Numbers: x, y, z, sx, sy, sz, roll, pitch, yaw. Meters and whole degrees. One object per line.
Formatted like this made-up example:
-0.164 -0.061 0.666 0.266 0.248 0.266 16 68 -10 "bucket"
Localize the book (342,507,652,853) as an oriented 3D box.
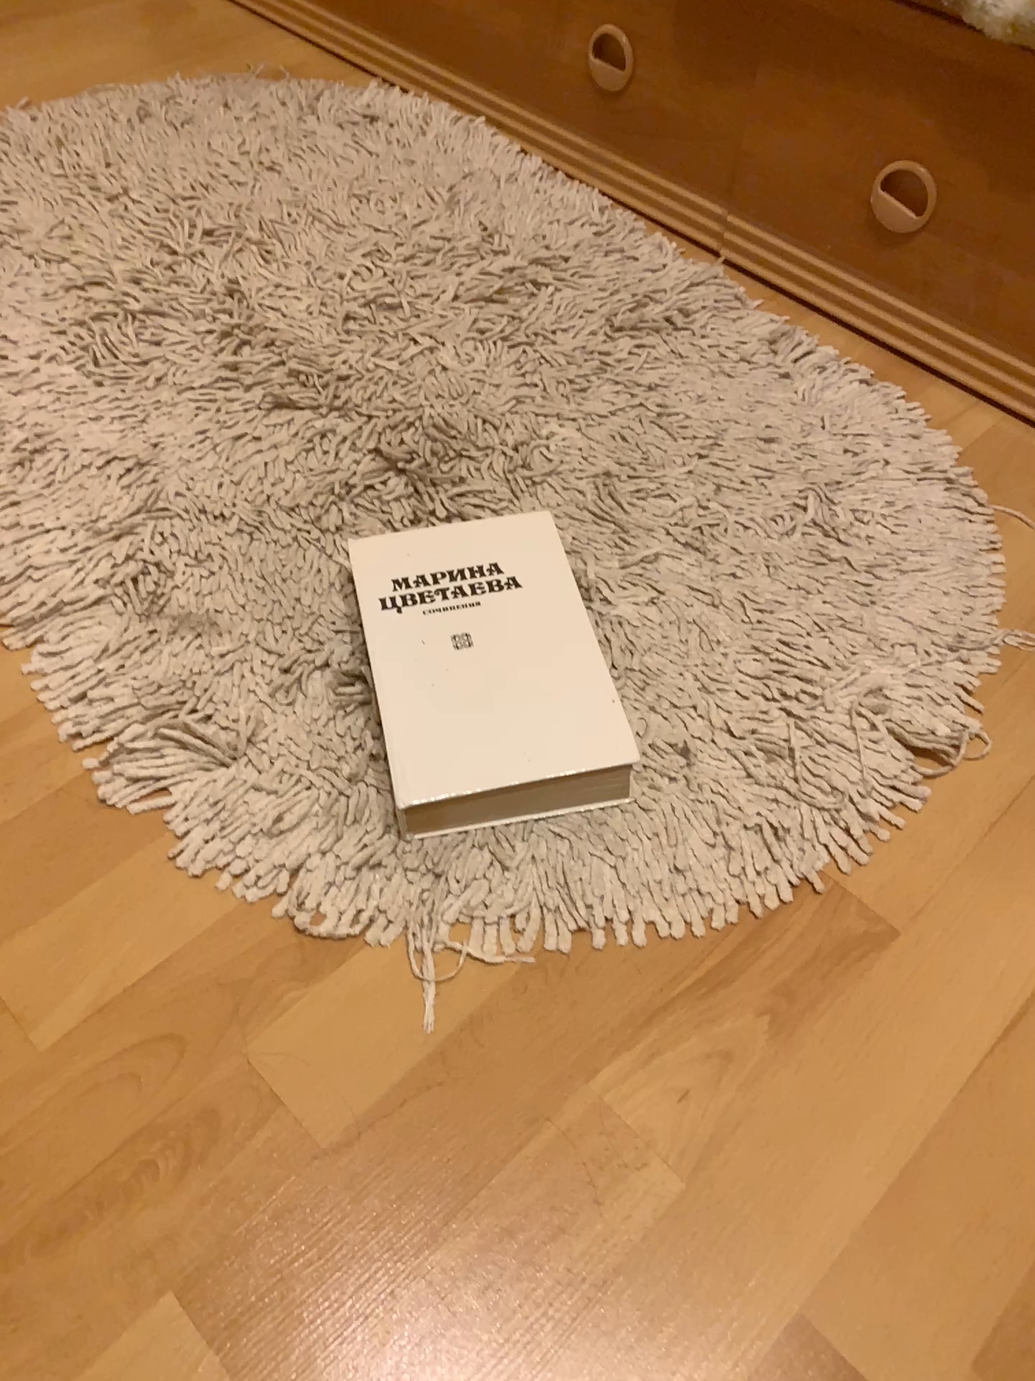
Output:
-0.020 -0.016 0.623 0.140 0.040 0.209 -8 52 -9 "book"
